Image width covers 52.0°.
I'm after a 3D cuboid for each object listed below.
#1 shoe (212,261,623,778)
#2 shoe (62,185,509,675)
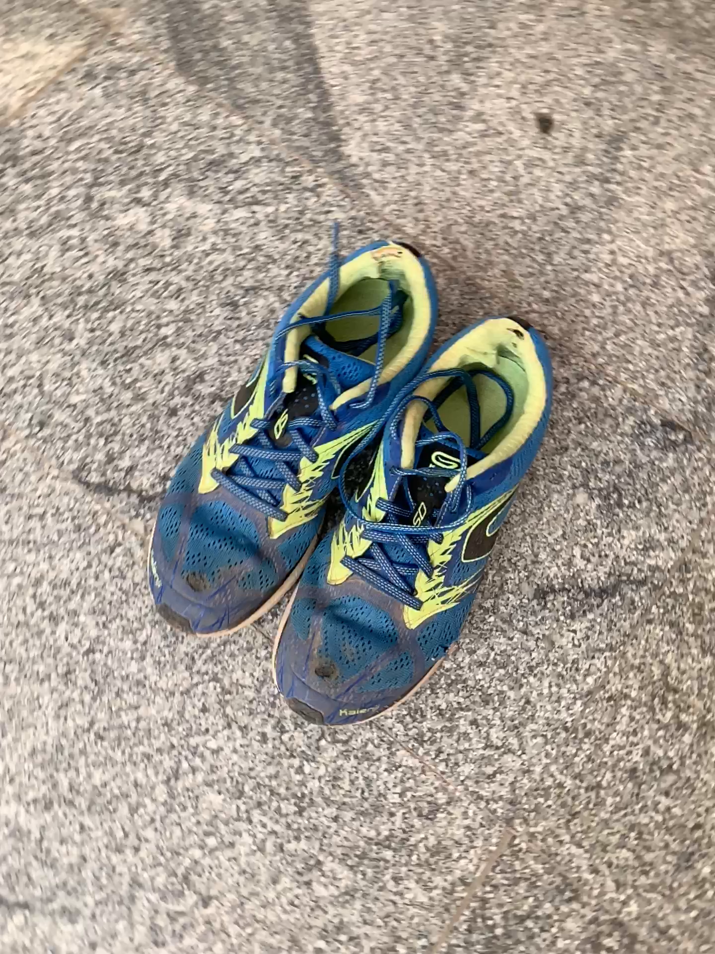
[{"bbox_3d":[0.044,0.016,0.436,0.100,0.060,0.291,27,74,17],"label":"shoe"},{"bbox_3d":[-0.034,-0.035,0.454,0.110,0.060,0.291,33,75,8],"label":"shoe"}]
